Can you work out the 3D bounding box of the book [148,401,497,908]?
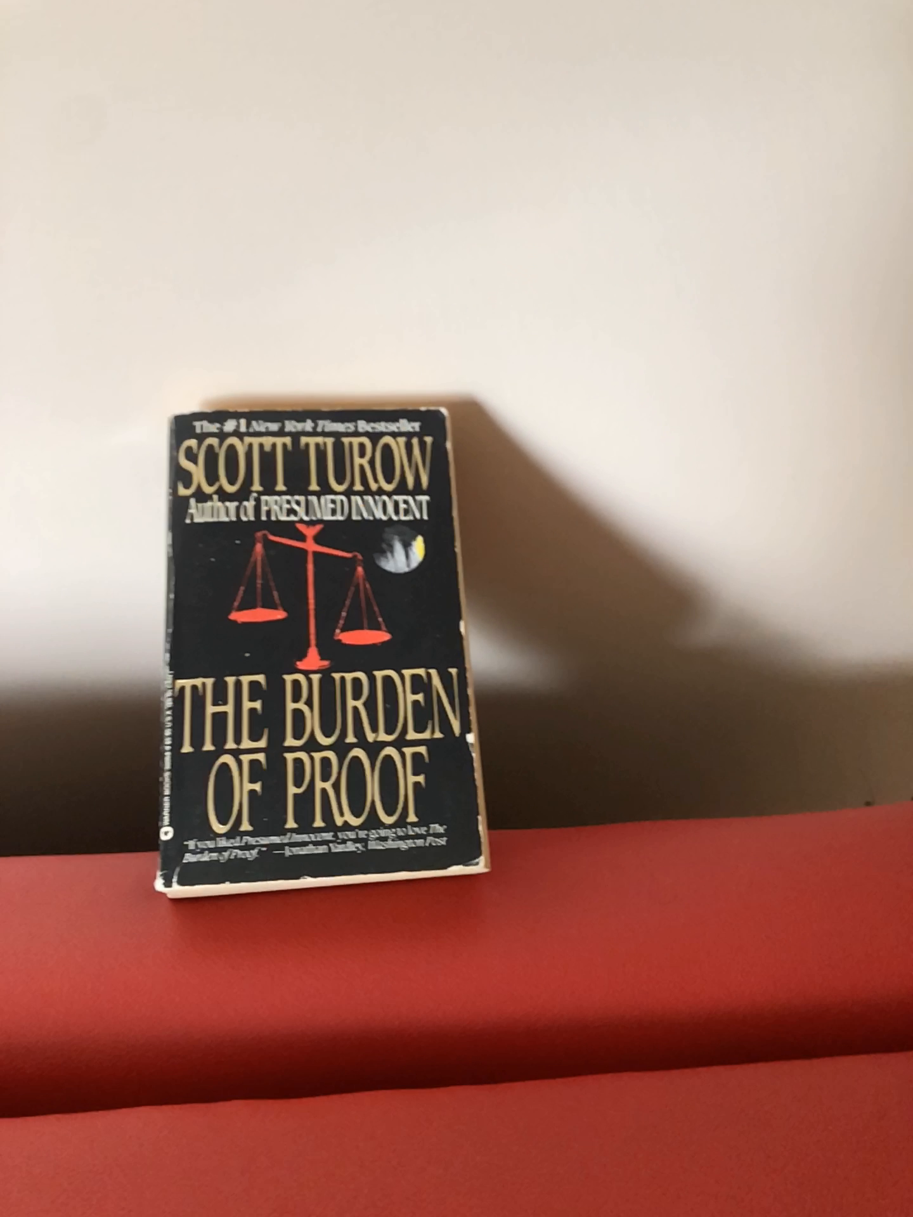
[{"bbox_3d":[-0.049,0.012,0.362,0.106,0.045,0.171,-2,70,-8],"label":"book"}]
